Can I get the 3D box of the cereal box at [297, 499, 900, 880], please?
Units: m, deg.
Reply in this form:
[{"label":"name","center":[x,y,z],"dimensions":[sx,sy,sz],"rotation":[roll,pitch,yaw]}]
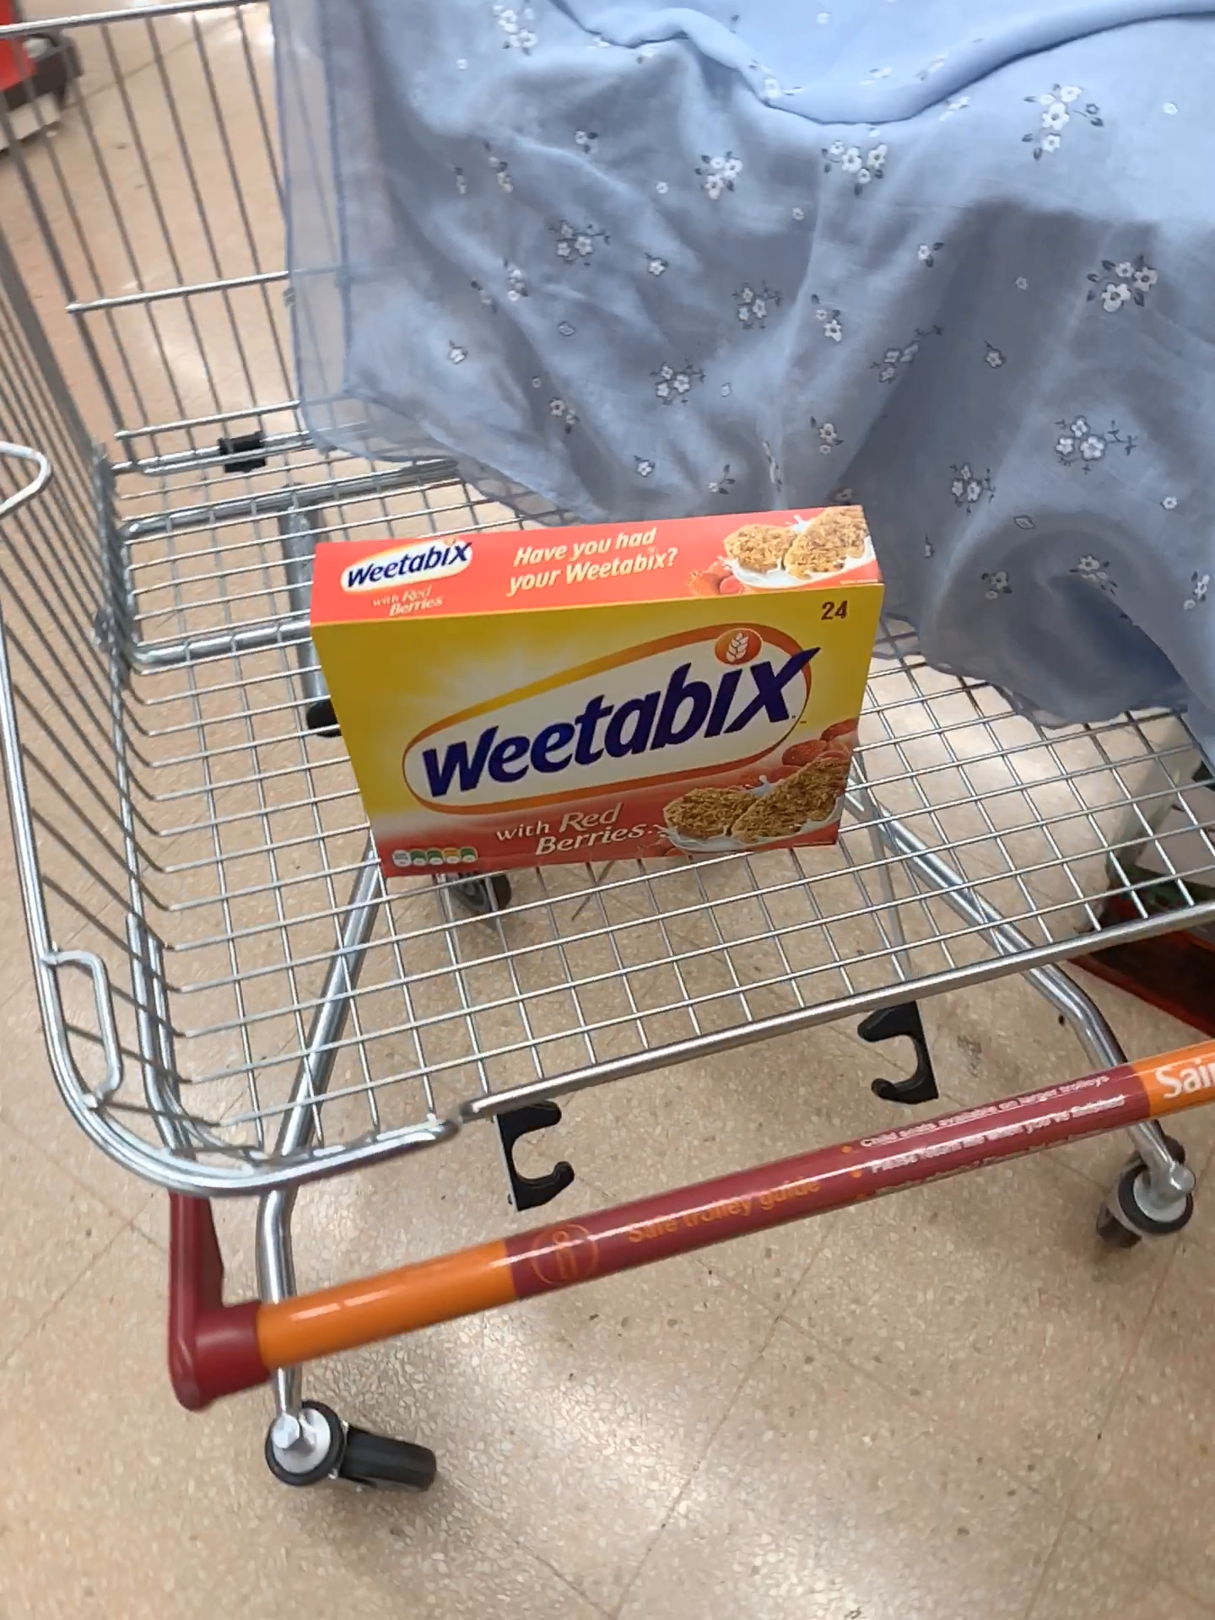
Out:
[{"label":"cereal box","center":[-0.005,-0.053,0.624],"dimensions":[0.260,0.189,0.060],"rotation":[-4,52,-3]}]
